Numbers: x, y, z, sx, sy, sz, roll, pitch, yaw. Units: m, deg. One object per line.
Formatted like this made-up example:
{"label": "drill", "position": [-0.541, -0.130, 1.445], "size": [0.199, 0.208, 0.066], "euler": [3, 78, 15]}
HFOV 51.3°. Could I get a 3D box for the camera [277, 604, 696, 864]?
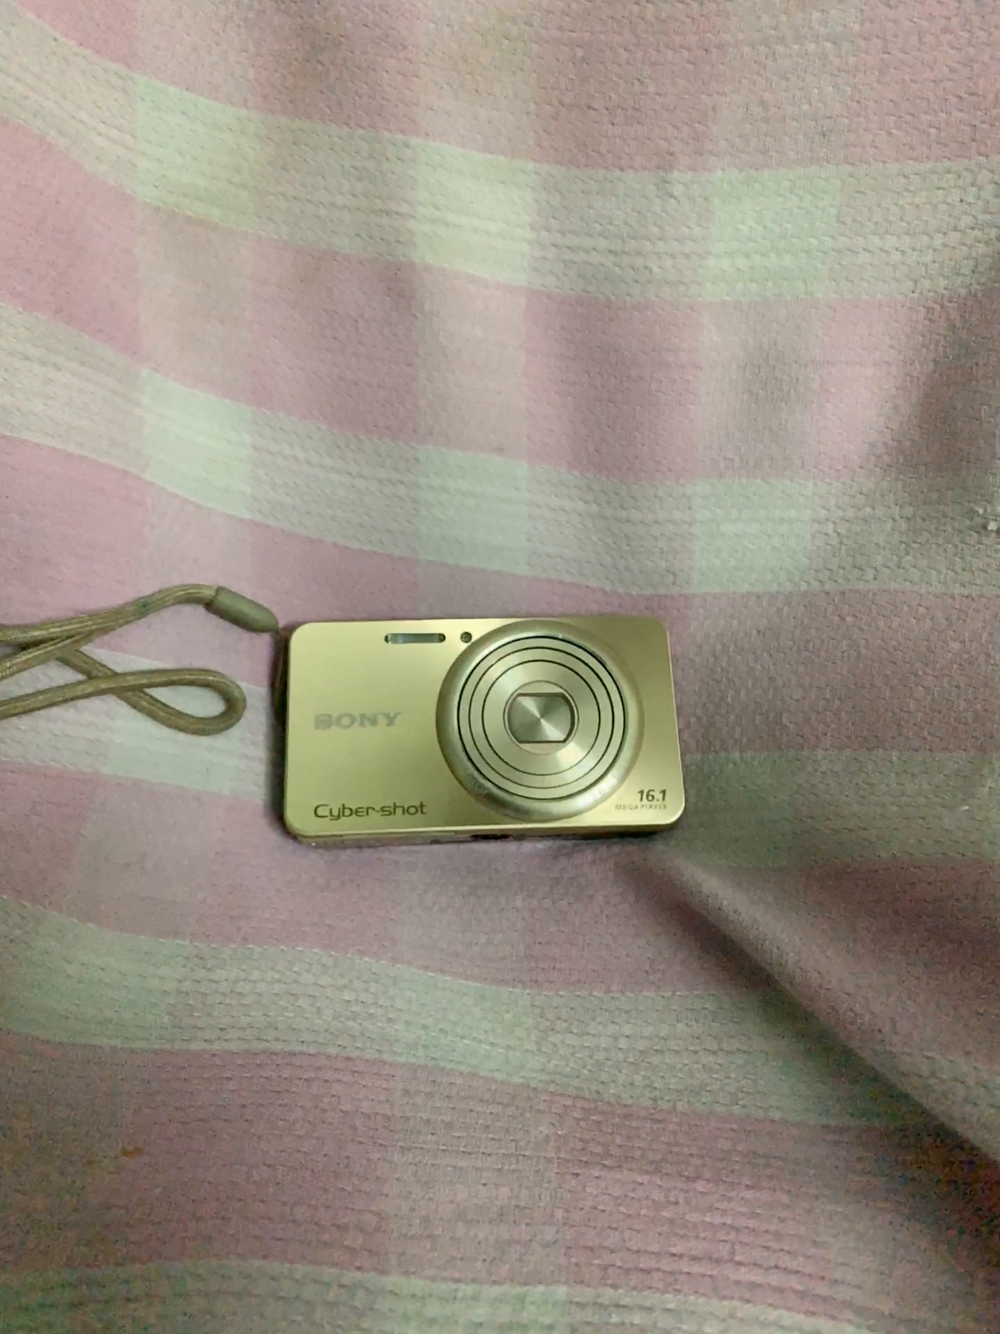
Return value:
{"label": "camera", "position": [-0.004, 0.016, 0.248], "size": [0.091, 0.027, 0.053], "euler": [-2, 71, -3]}
